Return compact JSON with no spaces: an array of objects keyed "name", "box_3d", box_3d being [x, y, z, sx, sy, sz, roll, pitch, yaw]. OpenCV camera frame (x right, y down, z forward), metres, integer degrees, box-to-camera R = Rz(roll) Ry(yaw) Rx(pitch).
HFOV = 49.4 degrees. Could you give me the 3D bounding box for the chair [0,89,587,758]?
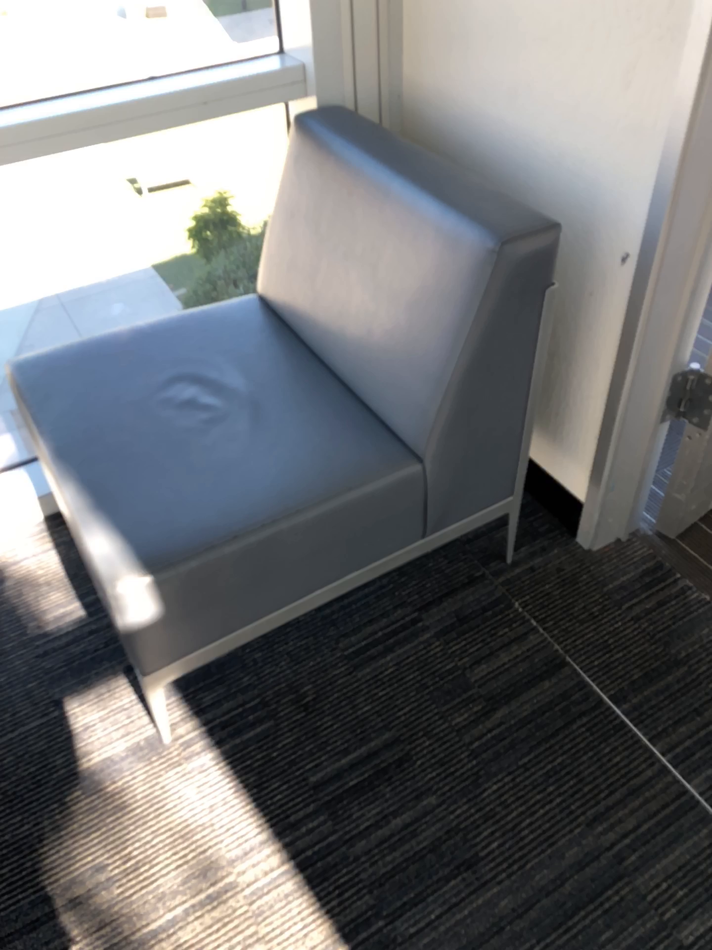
[{"name":"chair","box_3d":[-0.189,-0.157,1.404,0.750,0.706,0.773,-22,45,-20]}]
